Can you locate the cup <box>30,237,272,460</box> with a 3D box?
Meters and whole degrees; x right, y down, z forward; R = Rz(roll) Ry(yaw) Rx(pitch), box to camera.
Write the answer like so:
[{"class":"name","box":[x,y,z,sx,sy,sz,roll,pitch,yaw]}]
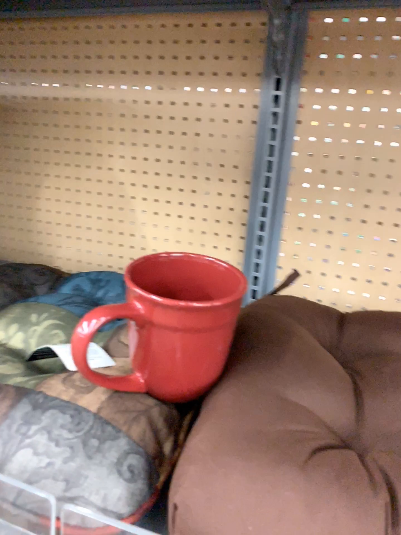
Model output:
[{"class":"cup","box":[-0.036,0.046,0.322,0.100,0.090,0.150,26,30,37]}]
